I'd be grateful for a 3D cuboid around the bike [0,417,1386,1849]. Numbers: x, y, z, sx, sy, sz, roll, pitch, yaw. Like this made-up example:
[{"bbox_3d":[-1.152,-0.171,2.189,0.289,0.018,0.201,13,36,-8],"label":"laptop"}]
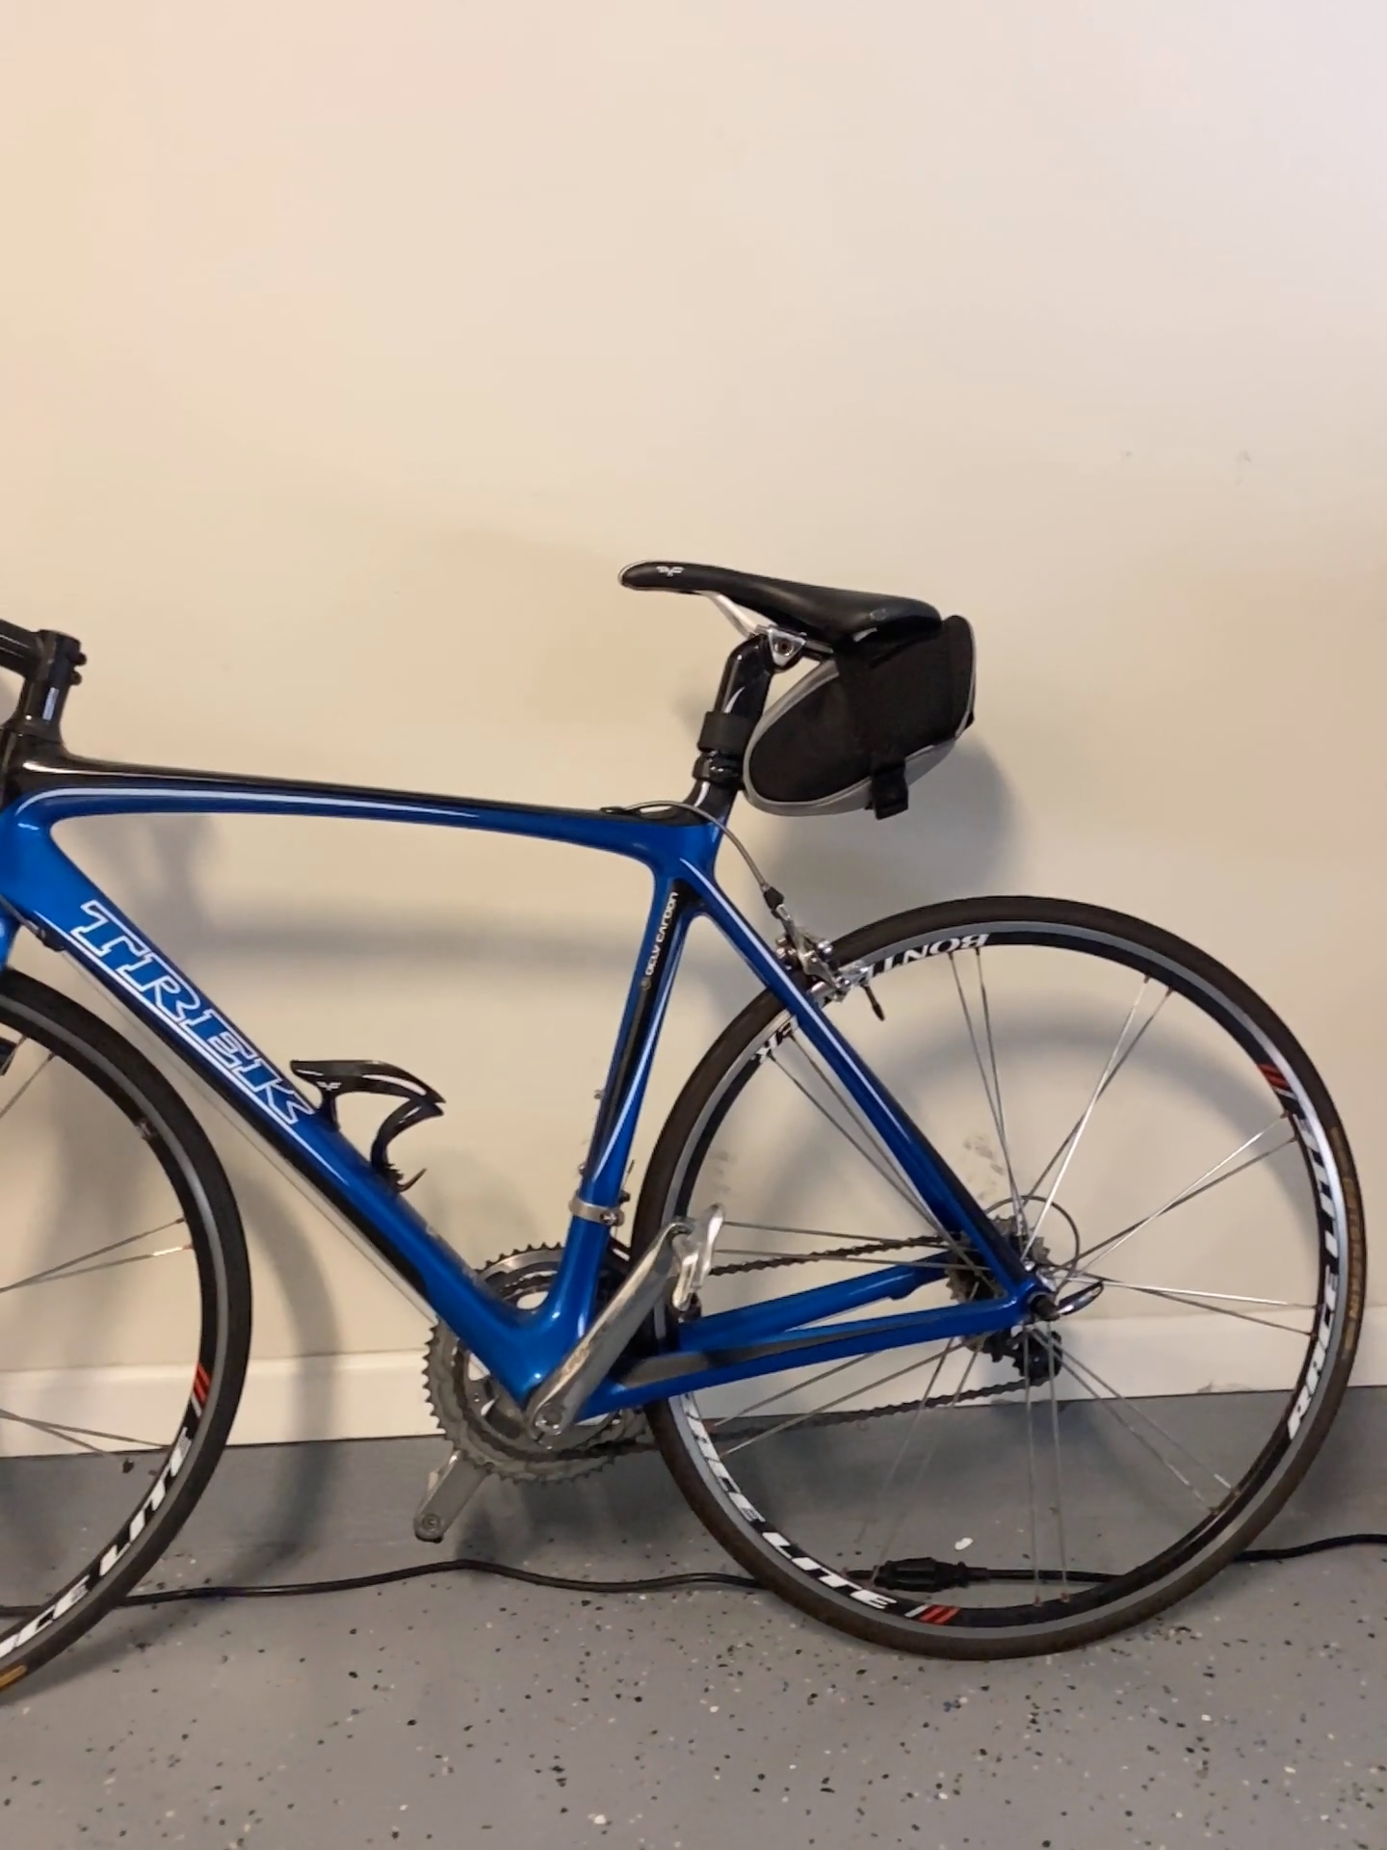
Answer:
[{"bbox_3d":[-0.115,0.244,1.095,1.638,0.884,0.401,2,7,-18],"label":"bike"}]
